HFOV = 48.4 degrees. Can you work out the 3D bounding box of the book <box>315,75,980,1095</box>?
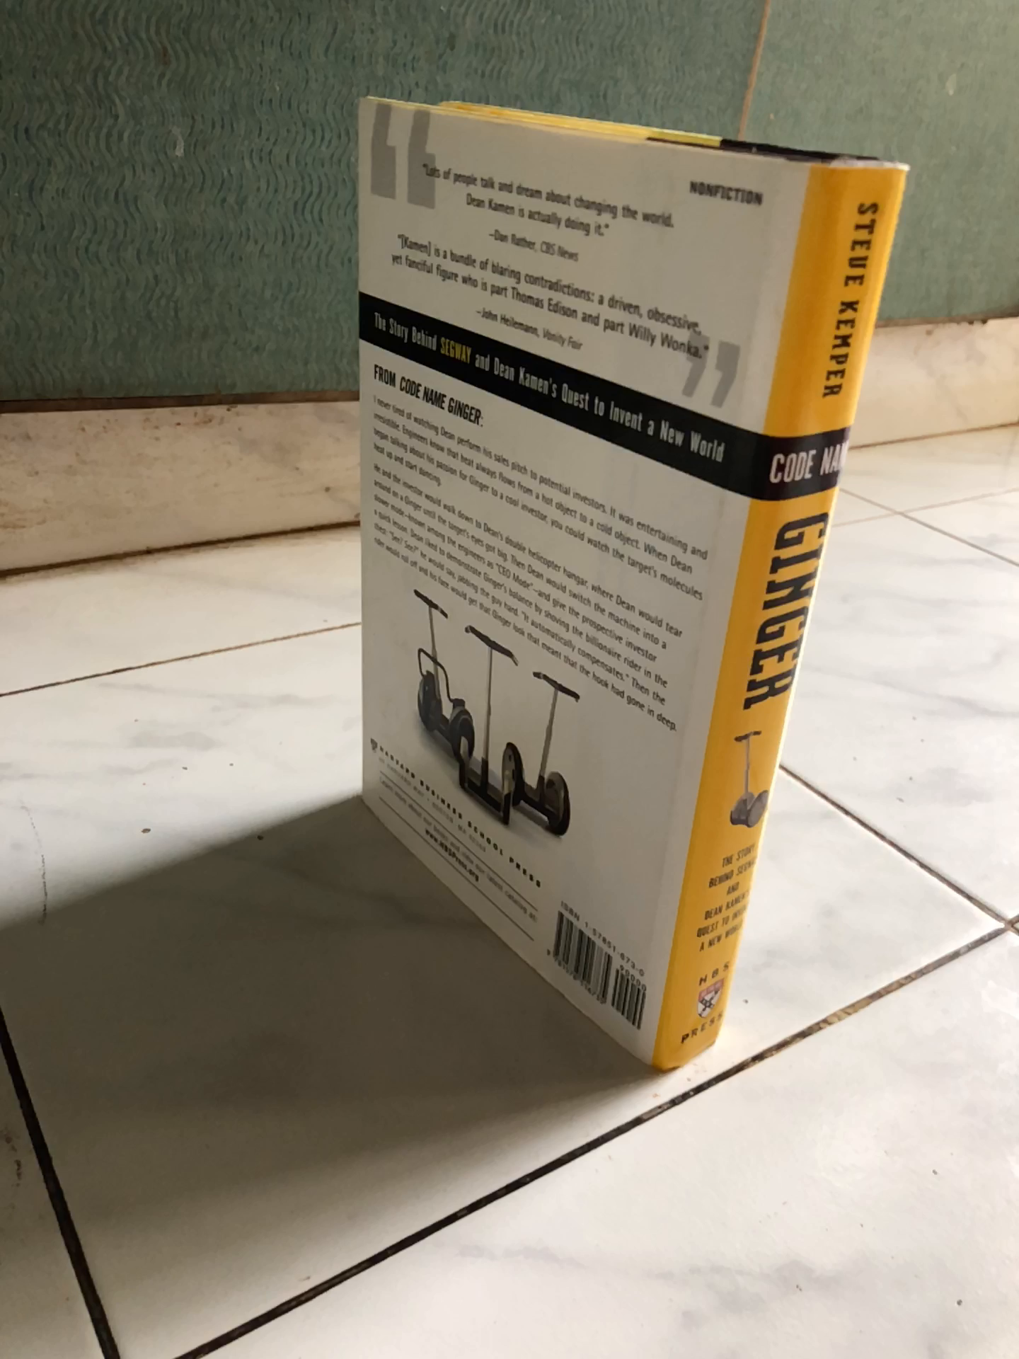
[{"bbox_3d":[0.010,-0.034,0.332,0.040,0.239,0.190,-18,36,-34],"label":"book"}]
